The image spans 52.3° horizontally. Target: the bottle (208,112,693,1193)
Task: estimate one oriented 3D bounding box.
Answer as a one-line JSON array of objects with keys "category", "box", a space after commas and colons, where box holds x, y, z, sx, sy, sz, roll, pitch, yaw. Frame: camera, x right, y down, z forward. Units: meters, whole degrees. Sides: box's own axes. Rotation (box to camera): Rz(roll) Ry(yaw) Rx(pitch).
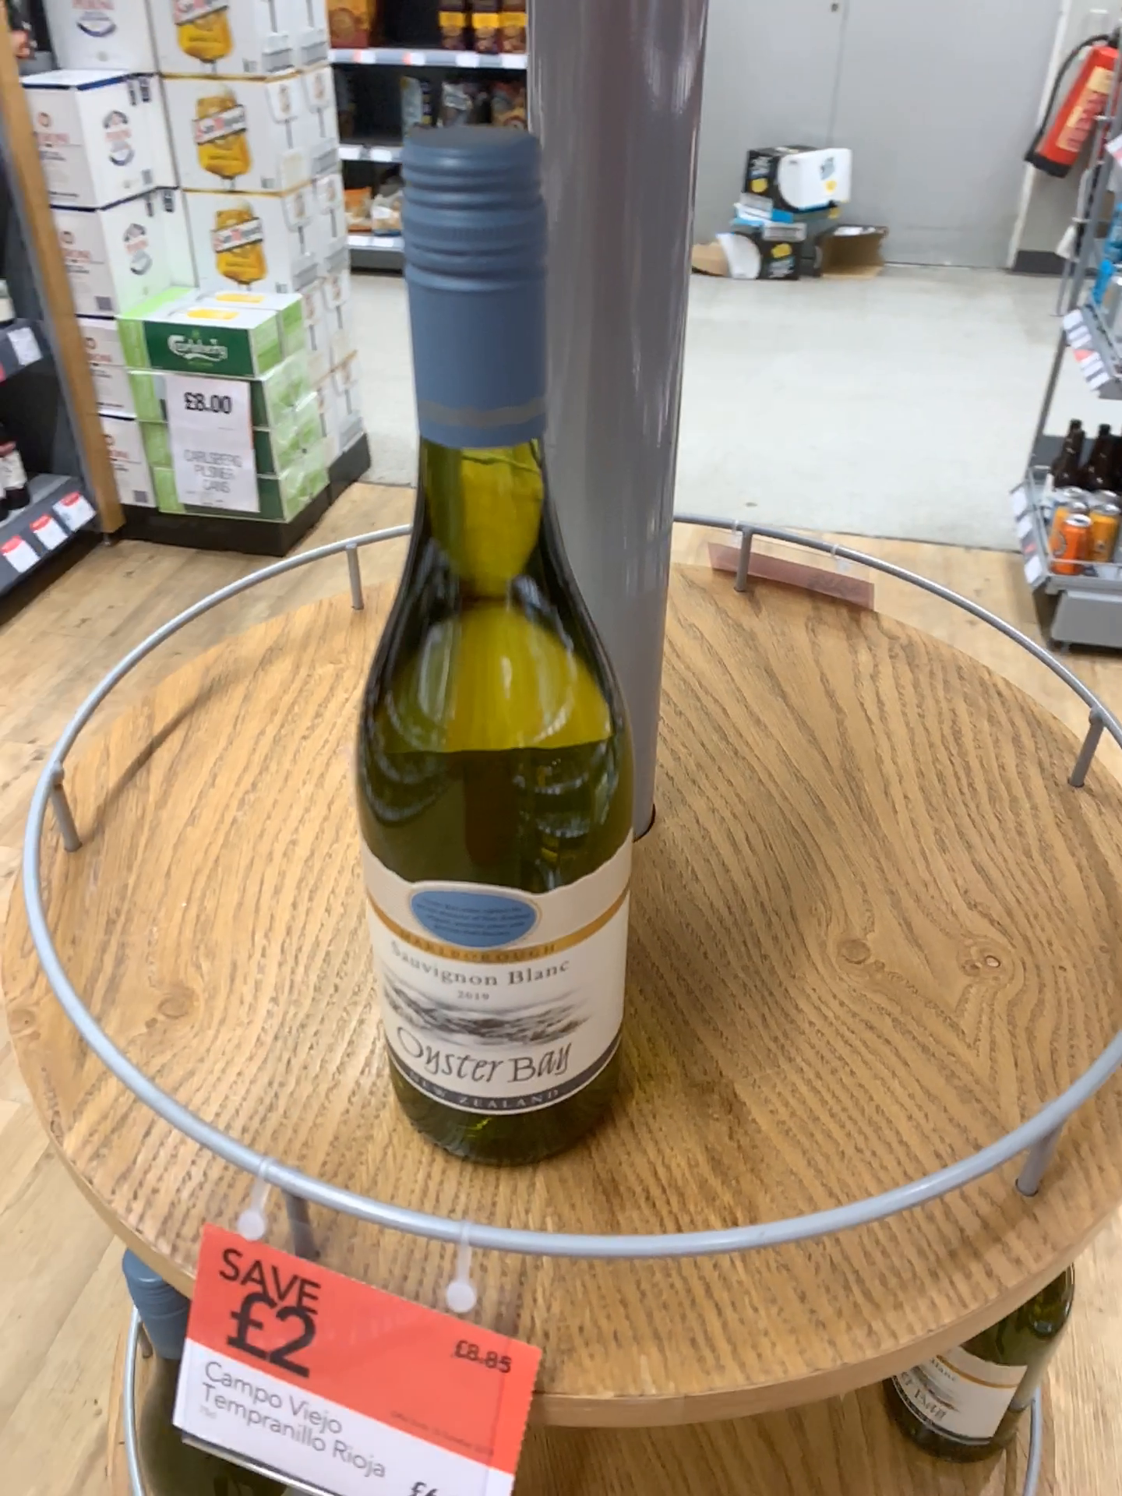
[{"category": "bottle", "box": [-0.017, -0.004, 0.309, 0.080, 0.284, 0.081, 0, 36, 0]}]
